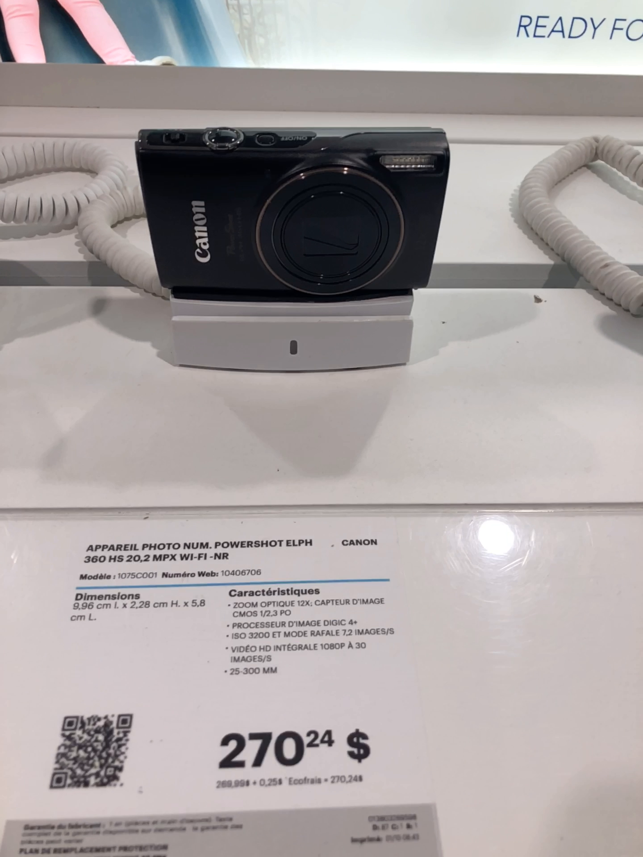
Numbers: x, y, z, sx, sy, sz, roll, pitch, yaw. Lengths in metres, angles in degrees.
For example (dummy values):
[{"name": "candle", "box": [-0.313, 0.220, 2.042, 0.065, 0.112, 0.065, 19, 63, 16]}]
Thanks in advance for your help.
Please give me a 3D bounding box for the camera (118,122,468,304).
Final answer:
[{"name": "camera", "box": [-0.010, -0.077, 0.259, 0.113, 0.057, 0.026, -1, 45, -3]}]
